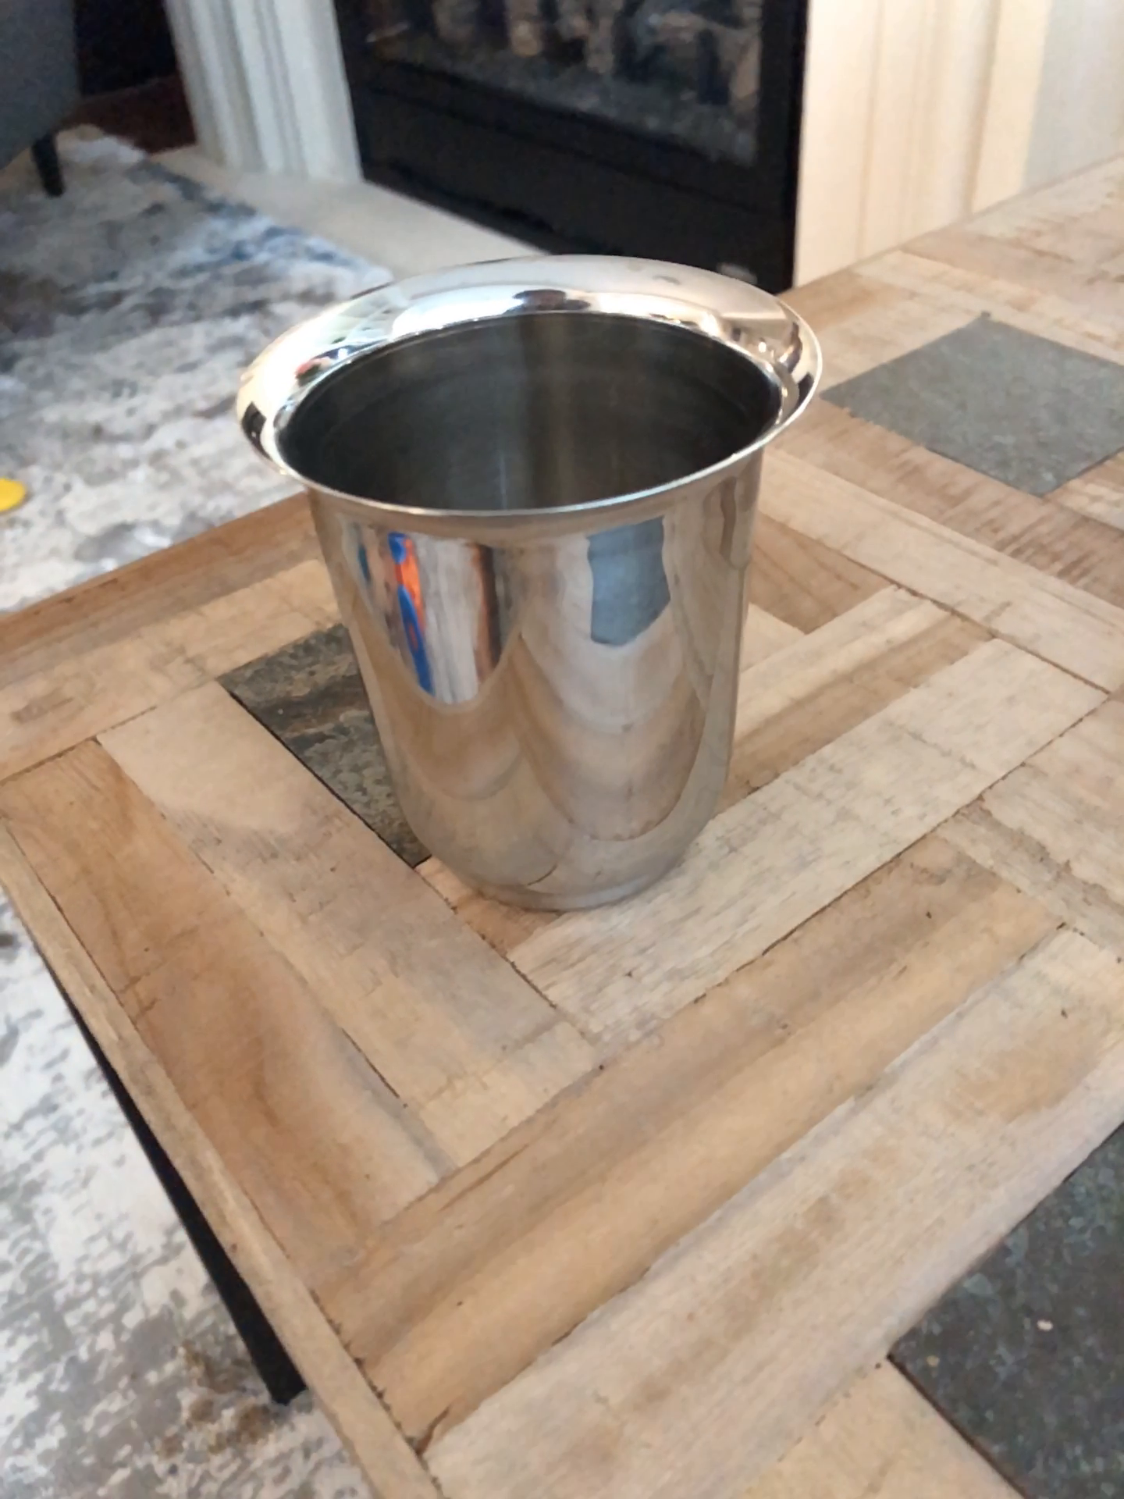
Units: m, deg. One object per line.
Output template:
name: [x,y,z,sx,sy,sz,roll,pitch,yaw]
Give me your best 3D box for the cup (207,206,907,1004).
cup: [-0.004,-0.026,0.209,0.084,0.088,0.083,-3,41,3]
